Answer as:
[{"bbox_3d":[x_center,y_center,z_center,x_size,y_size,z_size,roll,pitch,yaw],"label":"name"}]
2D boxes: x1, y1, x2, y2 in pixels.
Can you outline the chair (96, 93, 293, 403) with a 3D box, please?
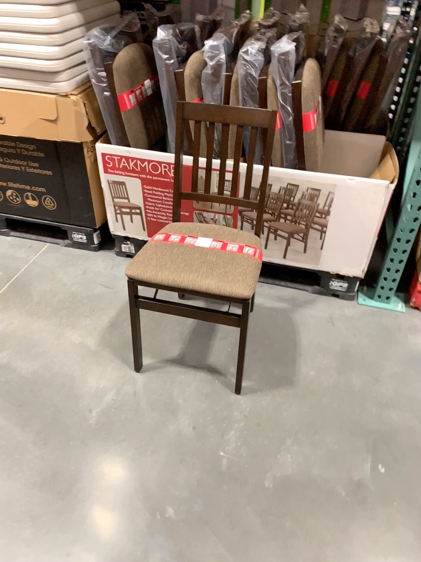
[{"bbox_3d":[-0.012,-0.111,1.490,0.421,0.837,0.574,10,40,10],"label":"chair"}]
